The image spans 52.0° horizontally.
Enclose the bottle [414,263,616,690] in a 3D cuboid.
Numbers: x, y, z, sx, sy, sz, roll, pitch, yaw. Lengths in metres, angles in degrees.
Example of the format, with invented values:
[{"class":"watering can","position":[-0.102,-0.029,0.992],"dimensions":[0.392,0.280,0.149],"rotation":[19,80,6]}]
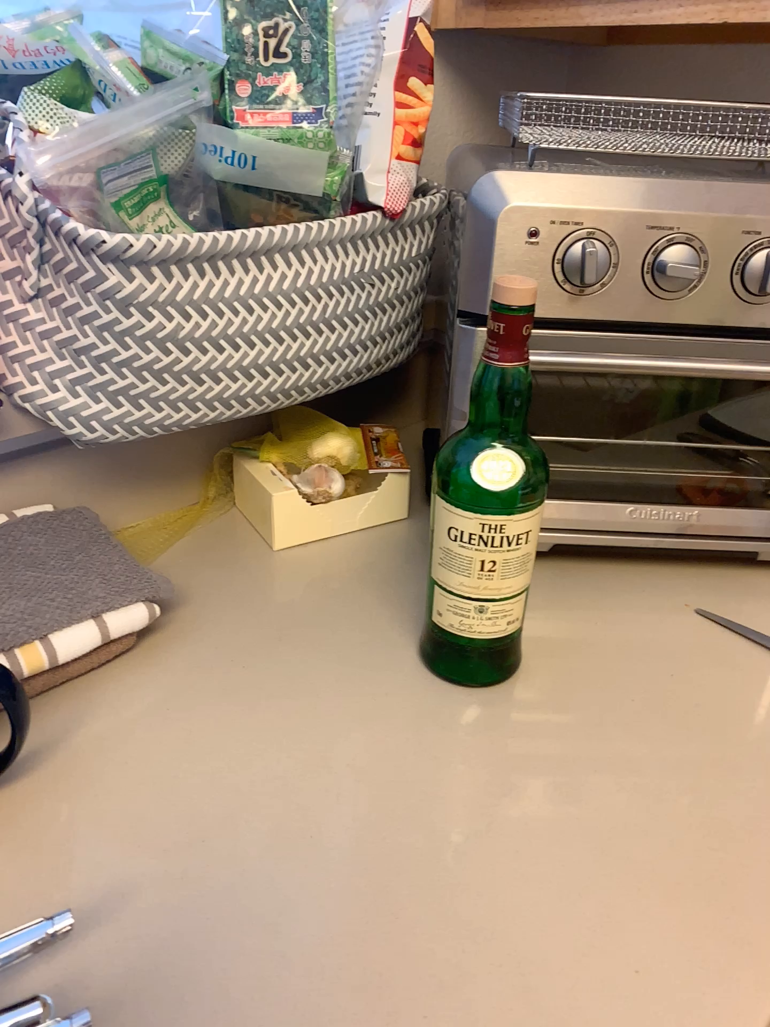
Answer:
[{"class":"bottle","position":[0.076,-0.018,0.542],"dimensions":[0.090,0.278,0.091],"rotation":[2,28,-1]}]
